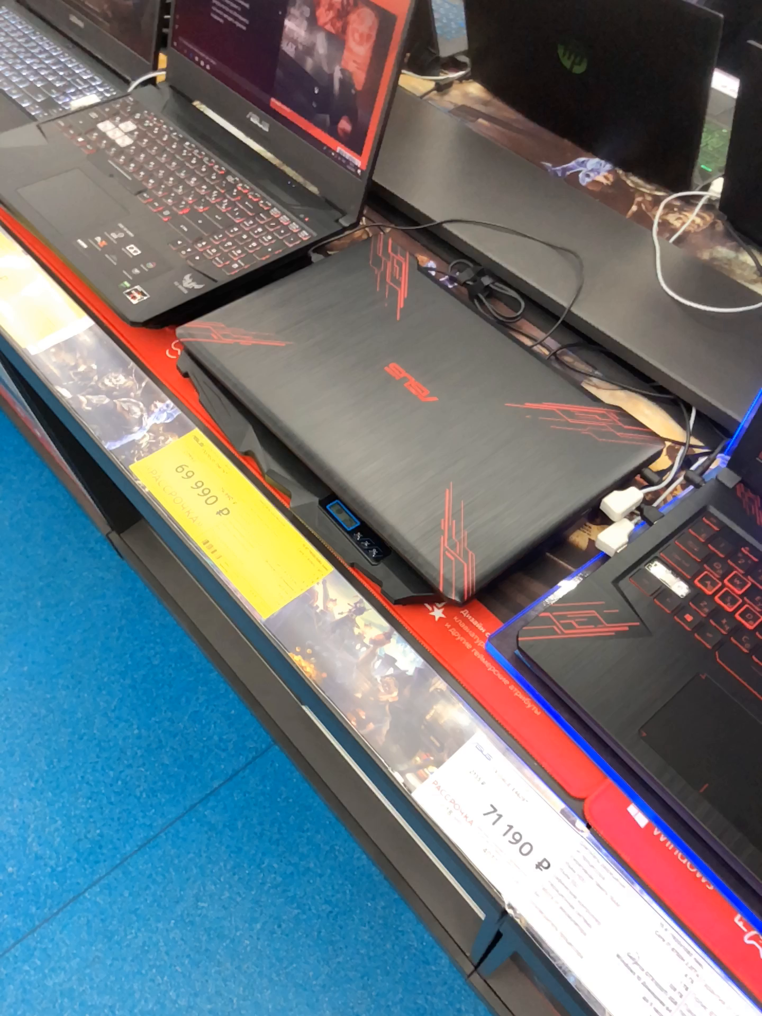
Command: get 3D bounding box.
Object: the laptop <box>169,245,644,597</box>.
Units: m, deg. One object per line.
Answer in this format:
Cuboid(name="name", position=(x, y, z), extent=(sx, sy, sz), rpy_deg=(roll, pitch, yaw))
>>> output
Cuboid(name="laptop", position=(0.017, -0.104, 0.738), extent=(0.240, 0.003, 0.358), rpy_deg=(-34, 61, -28))
